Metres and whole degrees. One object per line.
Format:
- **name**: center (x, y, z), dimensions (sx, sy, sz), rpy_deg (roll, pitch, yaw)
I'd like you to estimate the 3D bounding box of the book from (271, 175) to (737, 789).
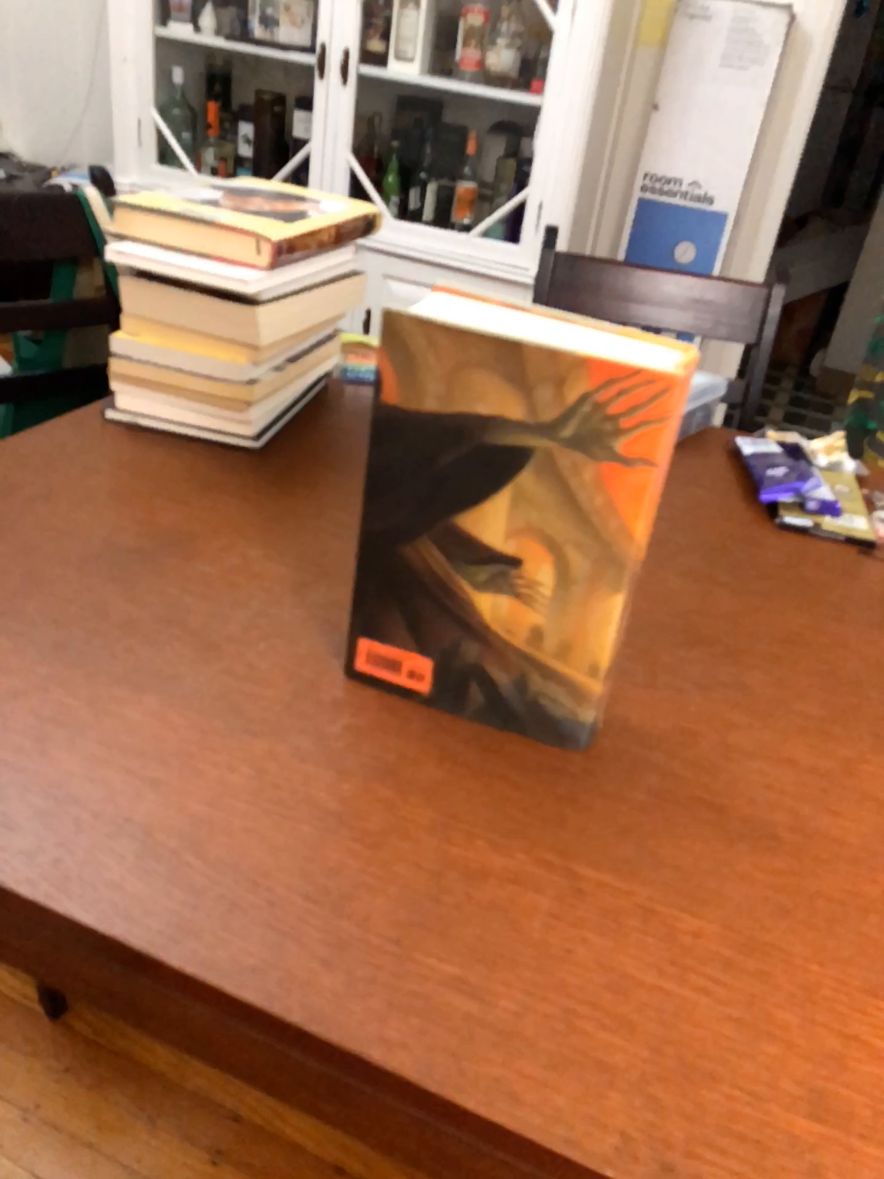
- **book**: center (0.018, -0.058, 0.550), dimensions (0.210, 0.298, 0.070), rpy_deg (18, 30, 16)
